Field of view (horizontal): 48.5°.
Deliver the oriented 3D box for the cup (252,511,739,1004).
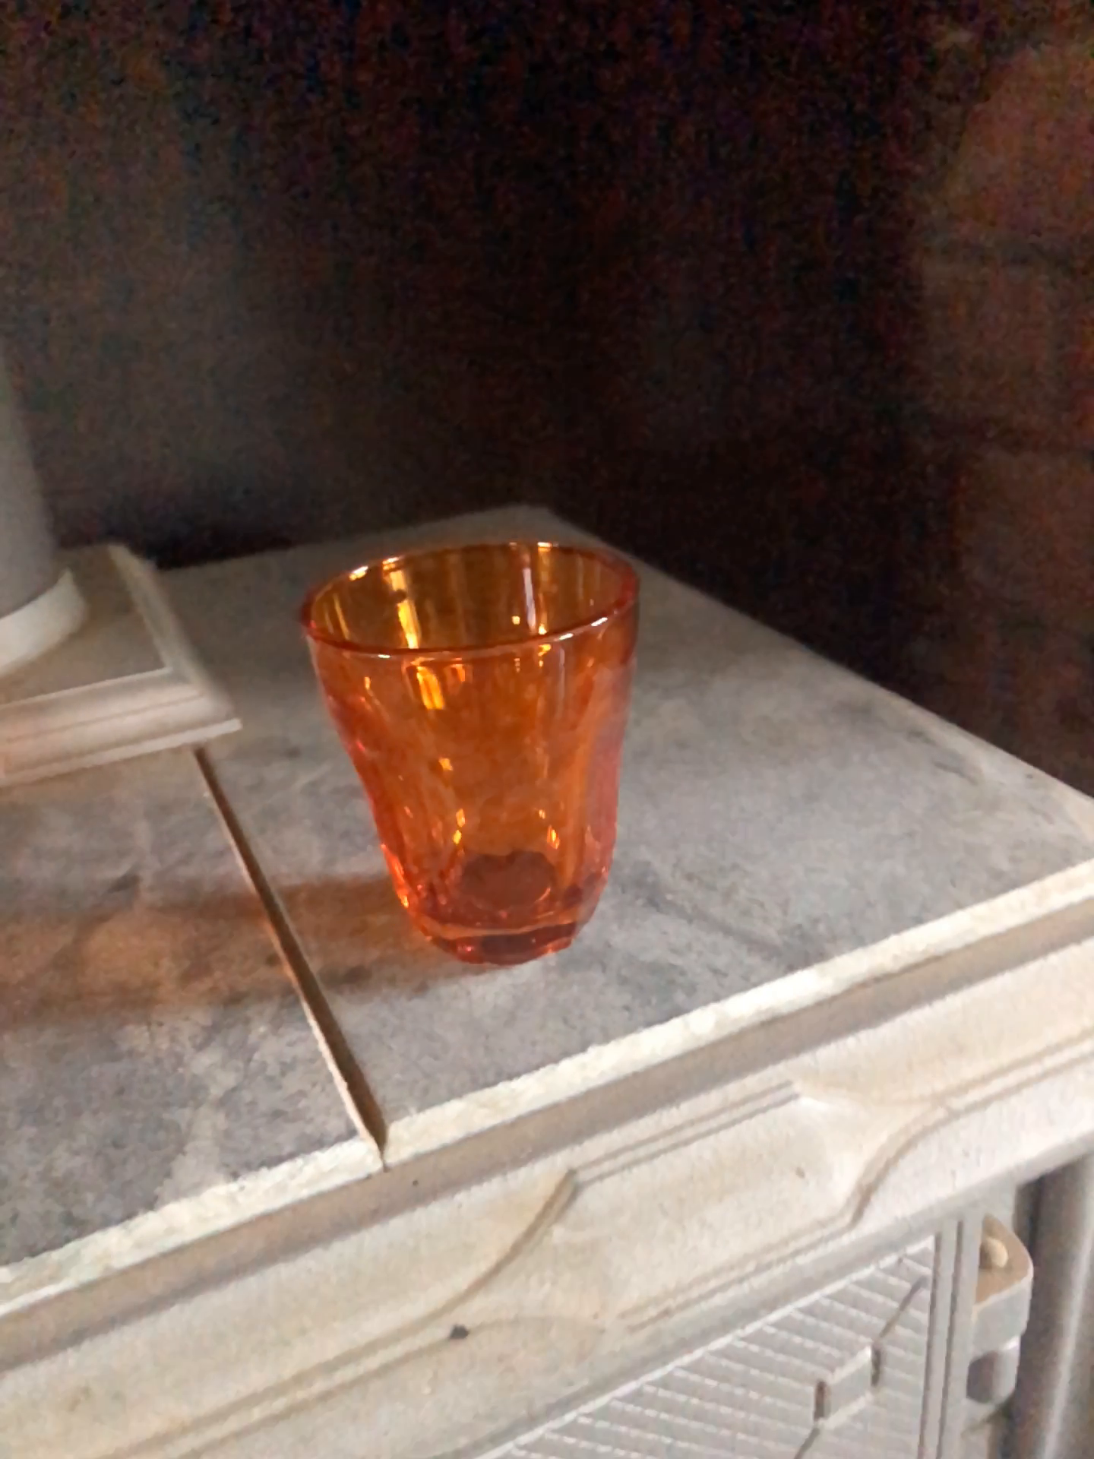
[{"bbox_3d":[-0.013,0.000,0.280,0.080,0.070,0.080,-4,25,2],"label":"cup"}]
